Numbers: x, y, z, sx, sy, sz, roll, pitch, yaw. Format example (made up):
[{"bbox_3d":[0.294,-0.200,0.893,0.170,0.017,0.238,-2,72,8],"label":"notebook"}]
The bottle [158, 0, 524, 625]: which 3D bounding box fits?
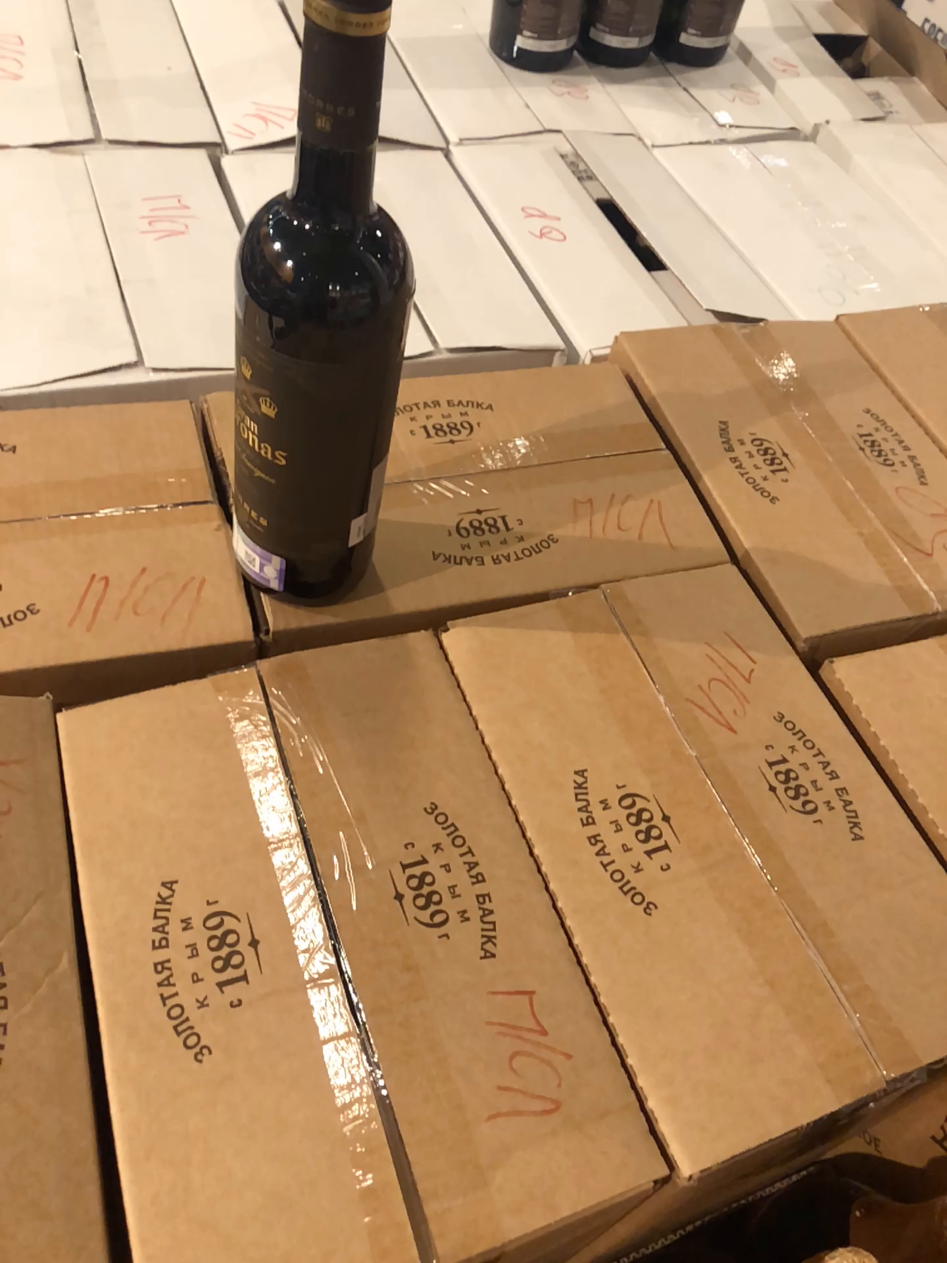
[{"bbox_3d":[-0.065,-0.135,0.450,0.090,0.278,0.090,5,51,-7],"label":"bottle"}]
